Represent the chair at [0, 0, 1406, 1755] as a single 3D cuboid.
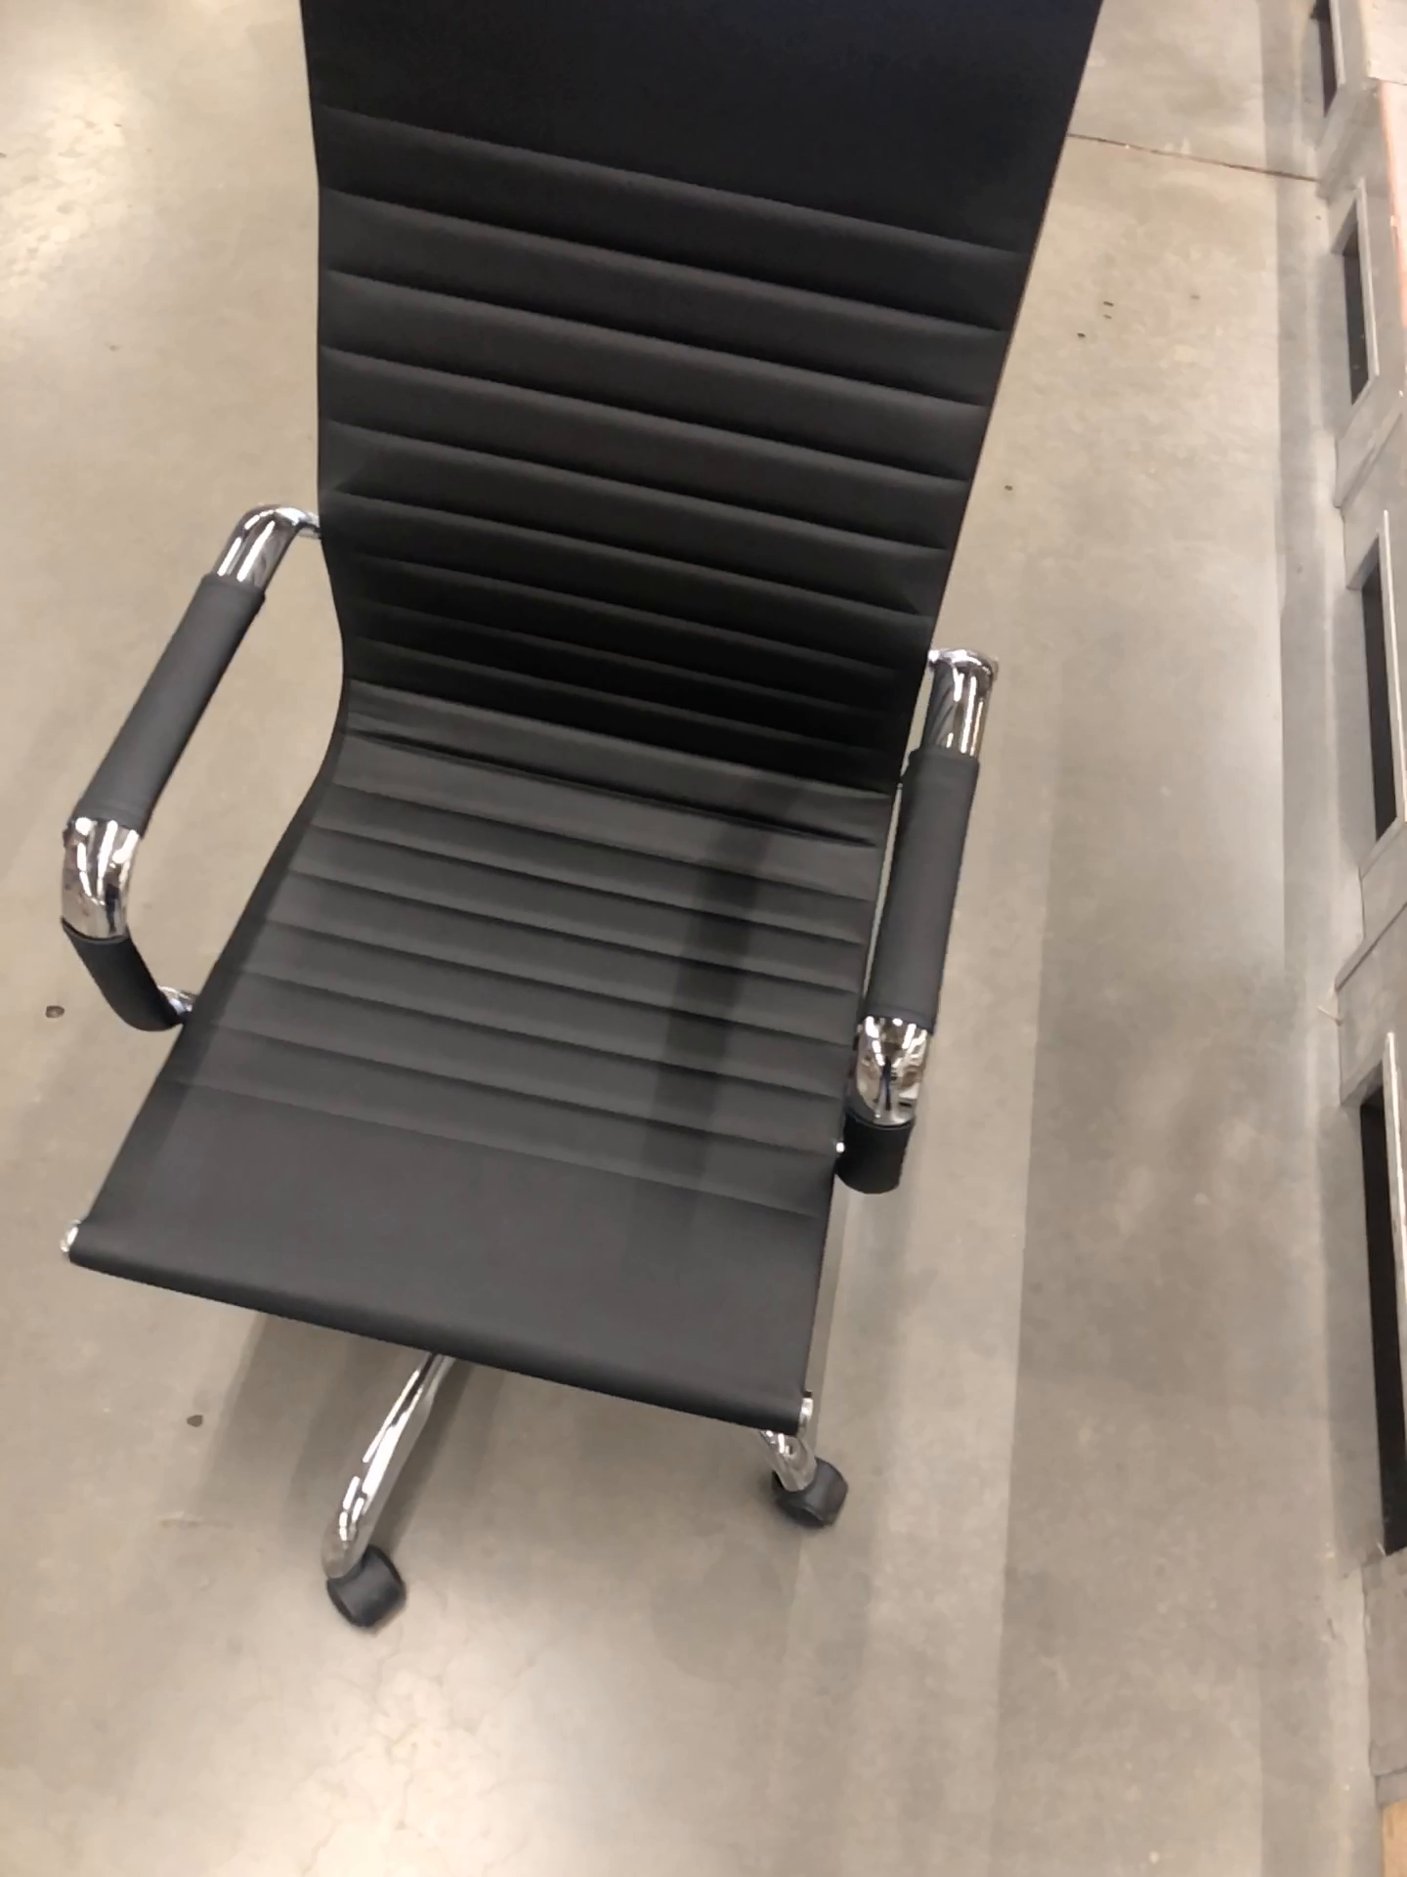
[{"bbox_3d":[-0.097,0.003,1.038,0.670,1.094,0.744,15,56,1],"label":"chair"}]
